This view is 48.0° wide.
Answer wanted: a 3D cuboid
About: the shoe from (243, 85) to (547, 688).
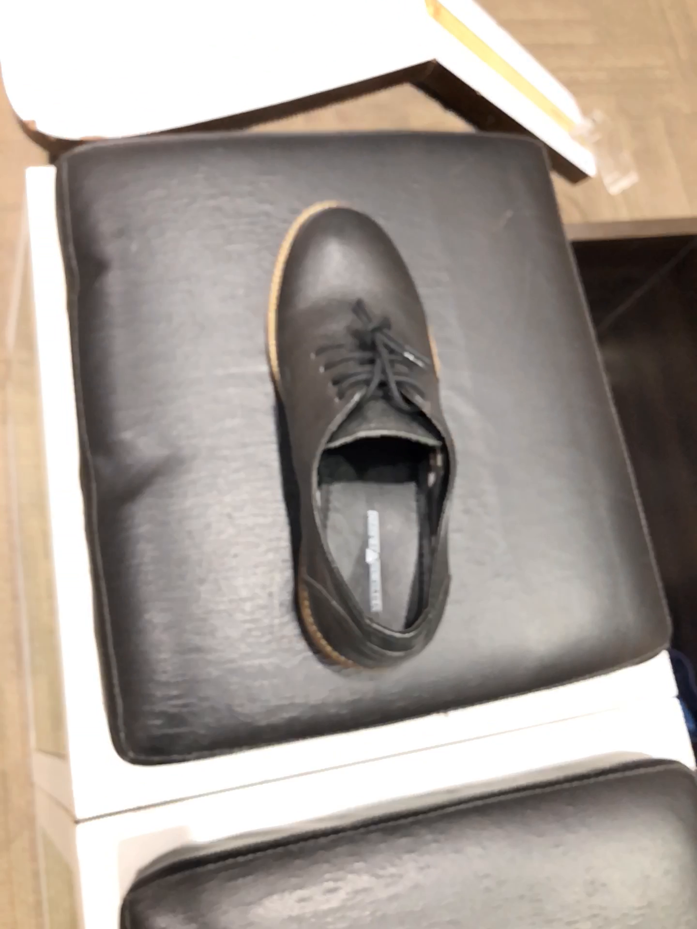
[{"bbox_3d":[0.010,-0.039,0.409,0.110,0.100,0.290,-2,74,-11],"label":"shoe"}]
